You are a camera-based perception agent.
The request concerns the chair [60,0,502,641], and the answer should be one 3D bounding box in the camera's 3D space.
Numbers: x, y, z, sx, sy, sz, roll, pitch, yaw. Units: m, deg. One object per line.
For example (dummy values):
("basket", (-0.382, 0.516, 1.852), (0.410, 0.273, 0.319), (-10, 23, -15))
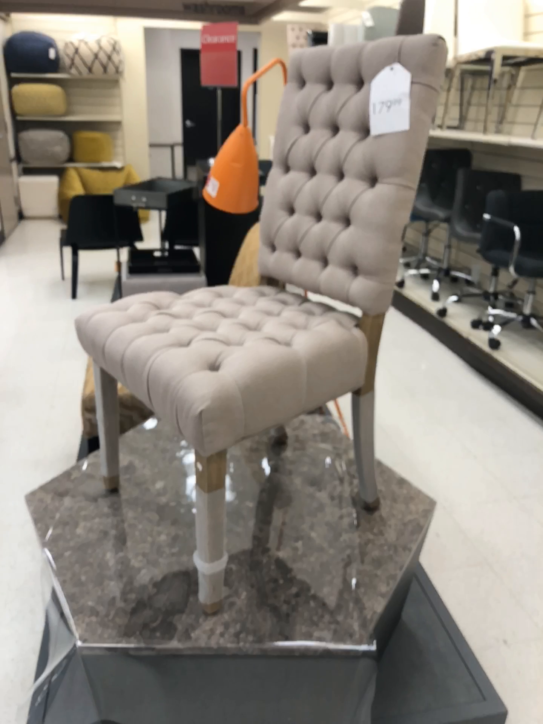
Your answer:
("chair", (-0.014, -0.119, 1.301), (0.581, 1.046, 0.572), (-14, 27, -34))
